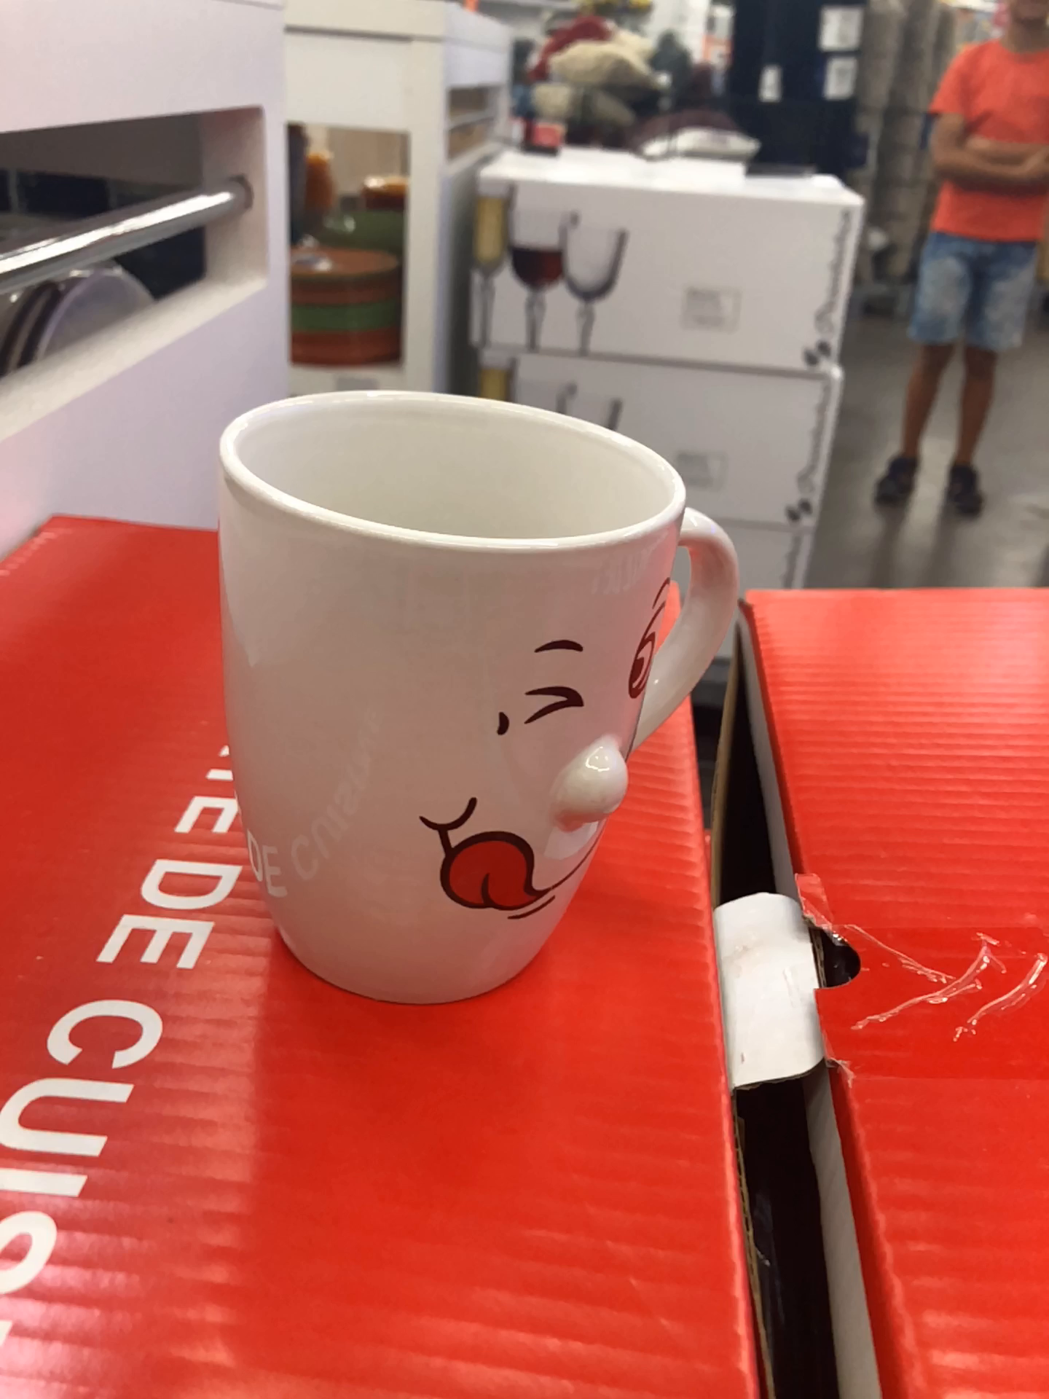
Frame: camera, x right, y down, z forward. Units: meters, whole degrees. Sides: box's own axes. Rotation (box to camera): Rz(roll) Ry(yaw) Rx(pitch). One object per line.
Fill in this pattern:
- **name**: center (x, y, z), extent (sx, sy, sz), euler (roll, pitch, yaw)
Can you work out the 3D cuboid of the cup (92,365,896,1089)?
- **cup**: center (-0.007, -0.009, 0.245), extent (0.124, 0.092, 0.092), euler (-18, 35, -36)
